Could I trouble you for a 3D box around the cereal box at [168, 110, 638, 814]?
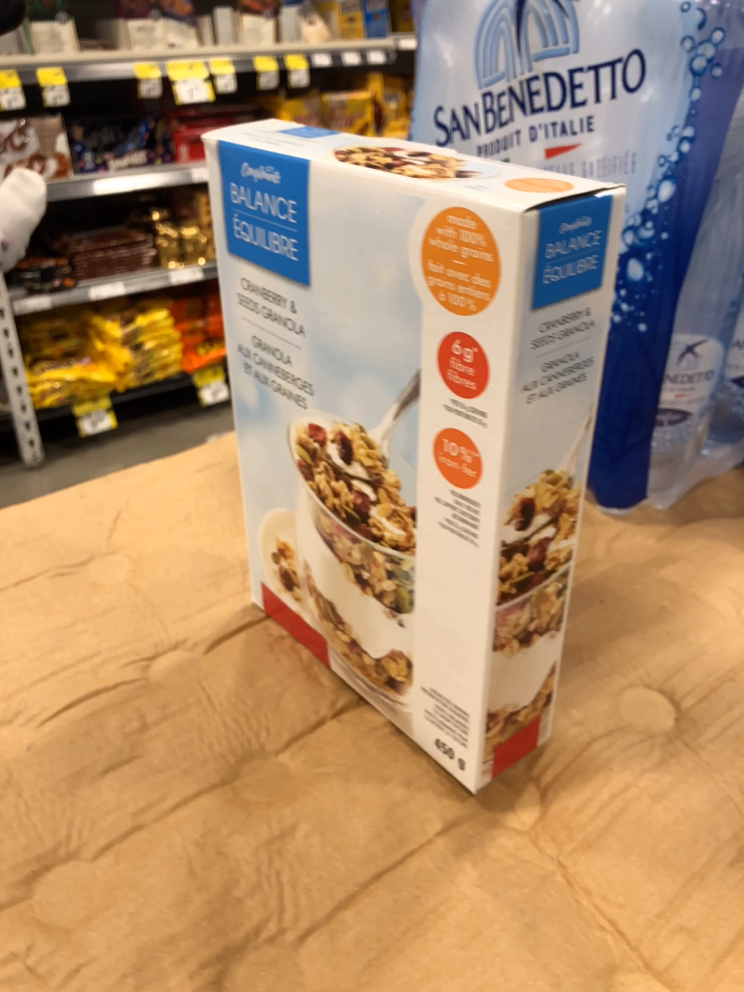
[{"bbox_3d":[-0.002,-0.020,0.336,0.050,0.229,0.181,-23,37,-33],"label":"cereal box"}]
